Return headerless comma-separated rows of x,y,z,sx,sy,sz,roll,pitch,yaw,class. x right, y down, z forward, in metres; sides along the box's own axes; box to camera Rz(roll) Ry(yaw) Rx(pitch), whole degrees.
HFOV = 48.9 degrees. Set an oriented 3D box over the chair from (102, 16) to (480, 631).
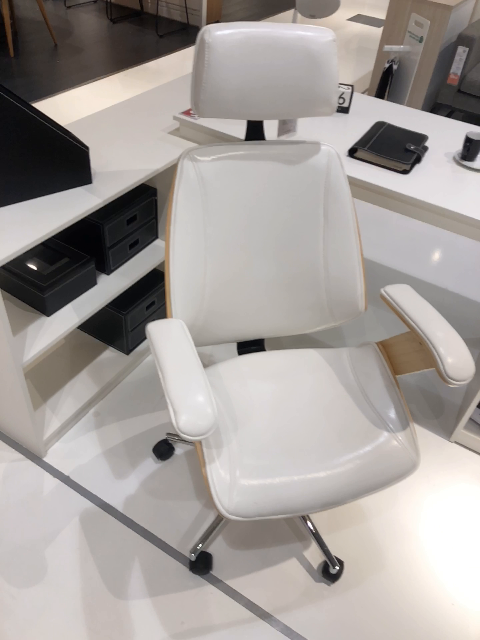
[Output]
0.115,0.039,1.182,0.671,1.102,0.705,-7,44,-14,chair
